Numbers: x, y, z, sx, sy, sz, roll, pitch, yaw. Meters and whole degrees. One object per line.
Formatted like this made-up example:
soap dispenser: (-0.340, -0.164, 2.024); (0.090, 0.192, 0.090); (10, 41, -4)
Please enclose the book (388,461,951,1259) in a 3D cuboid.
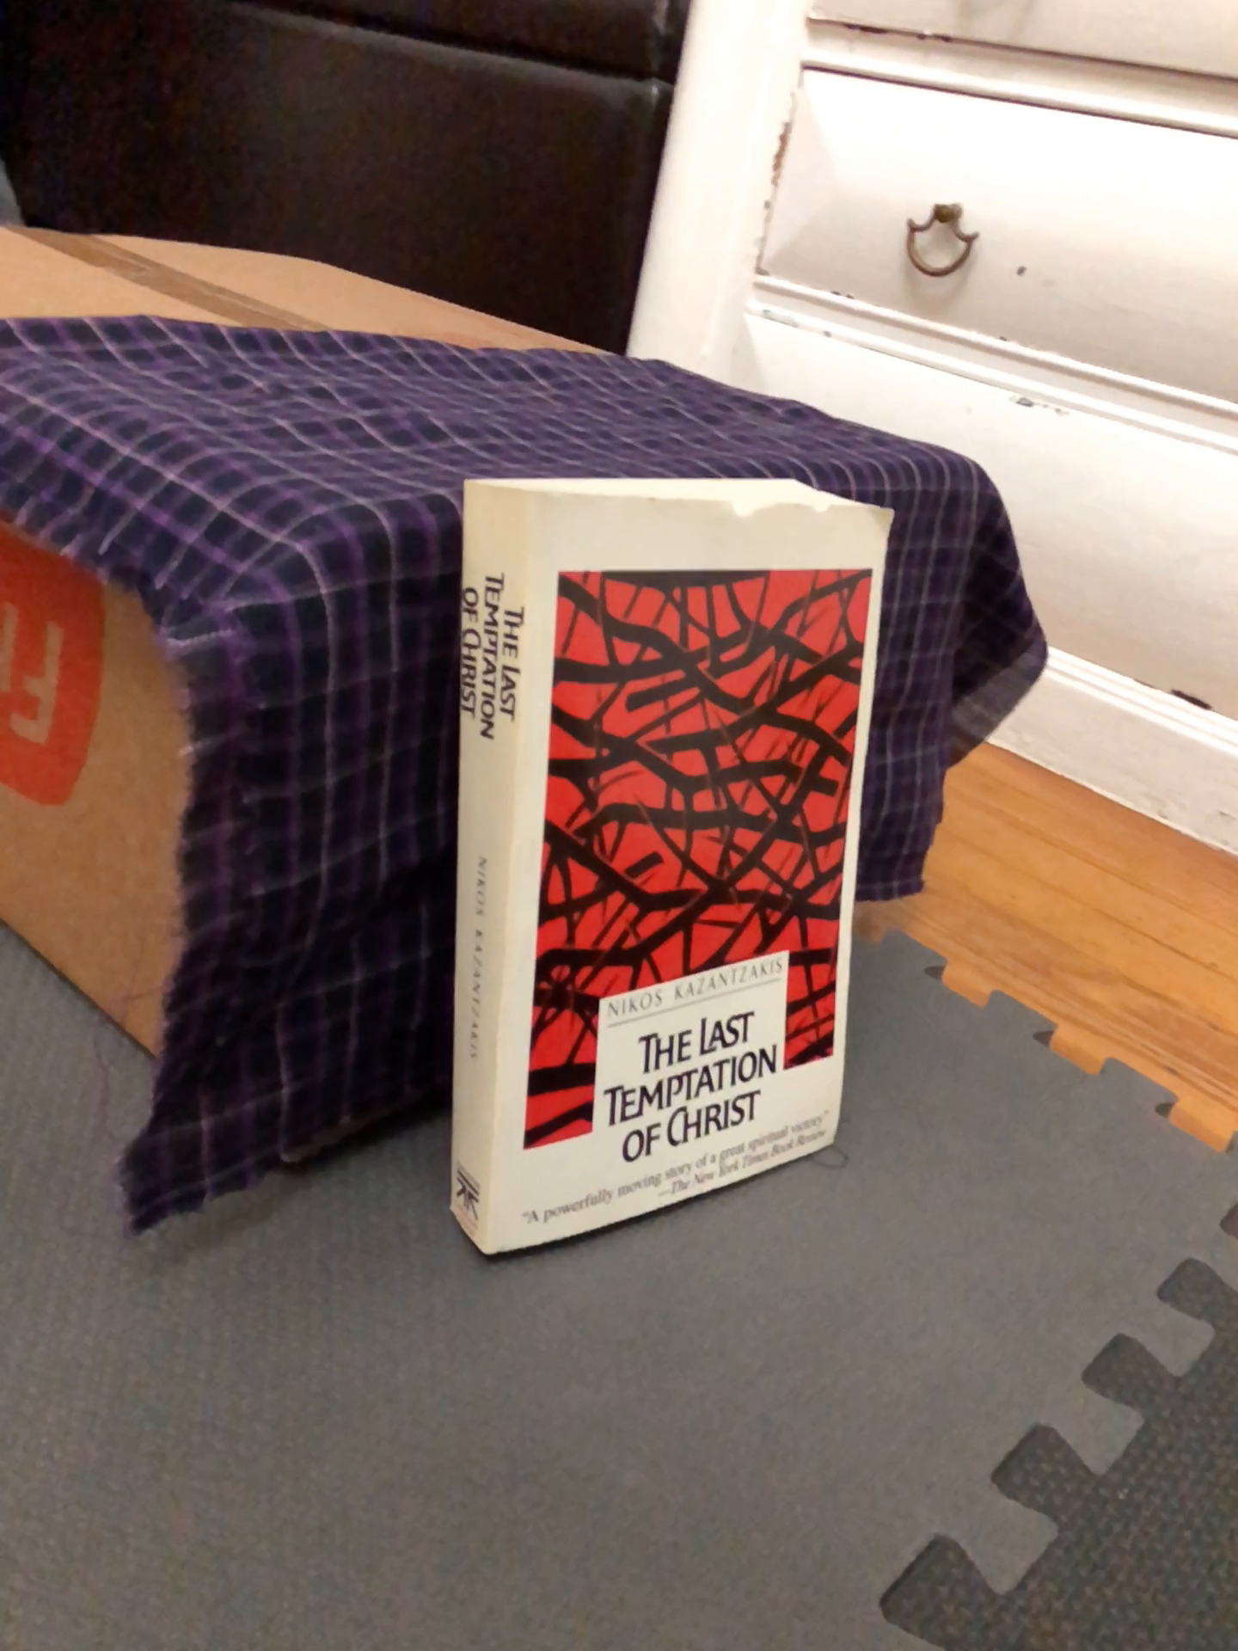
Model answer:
book: (0.014, 0.003, 0.402); (0.150, 0.209, 0.050); (-9, 21, -30)
